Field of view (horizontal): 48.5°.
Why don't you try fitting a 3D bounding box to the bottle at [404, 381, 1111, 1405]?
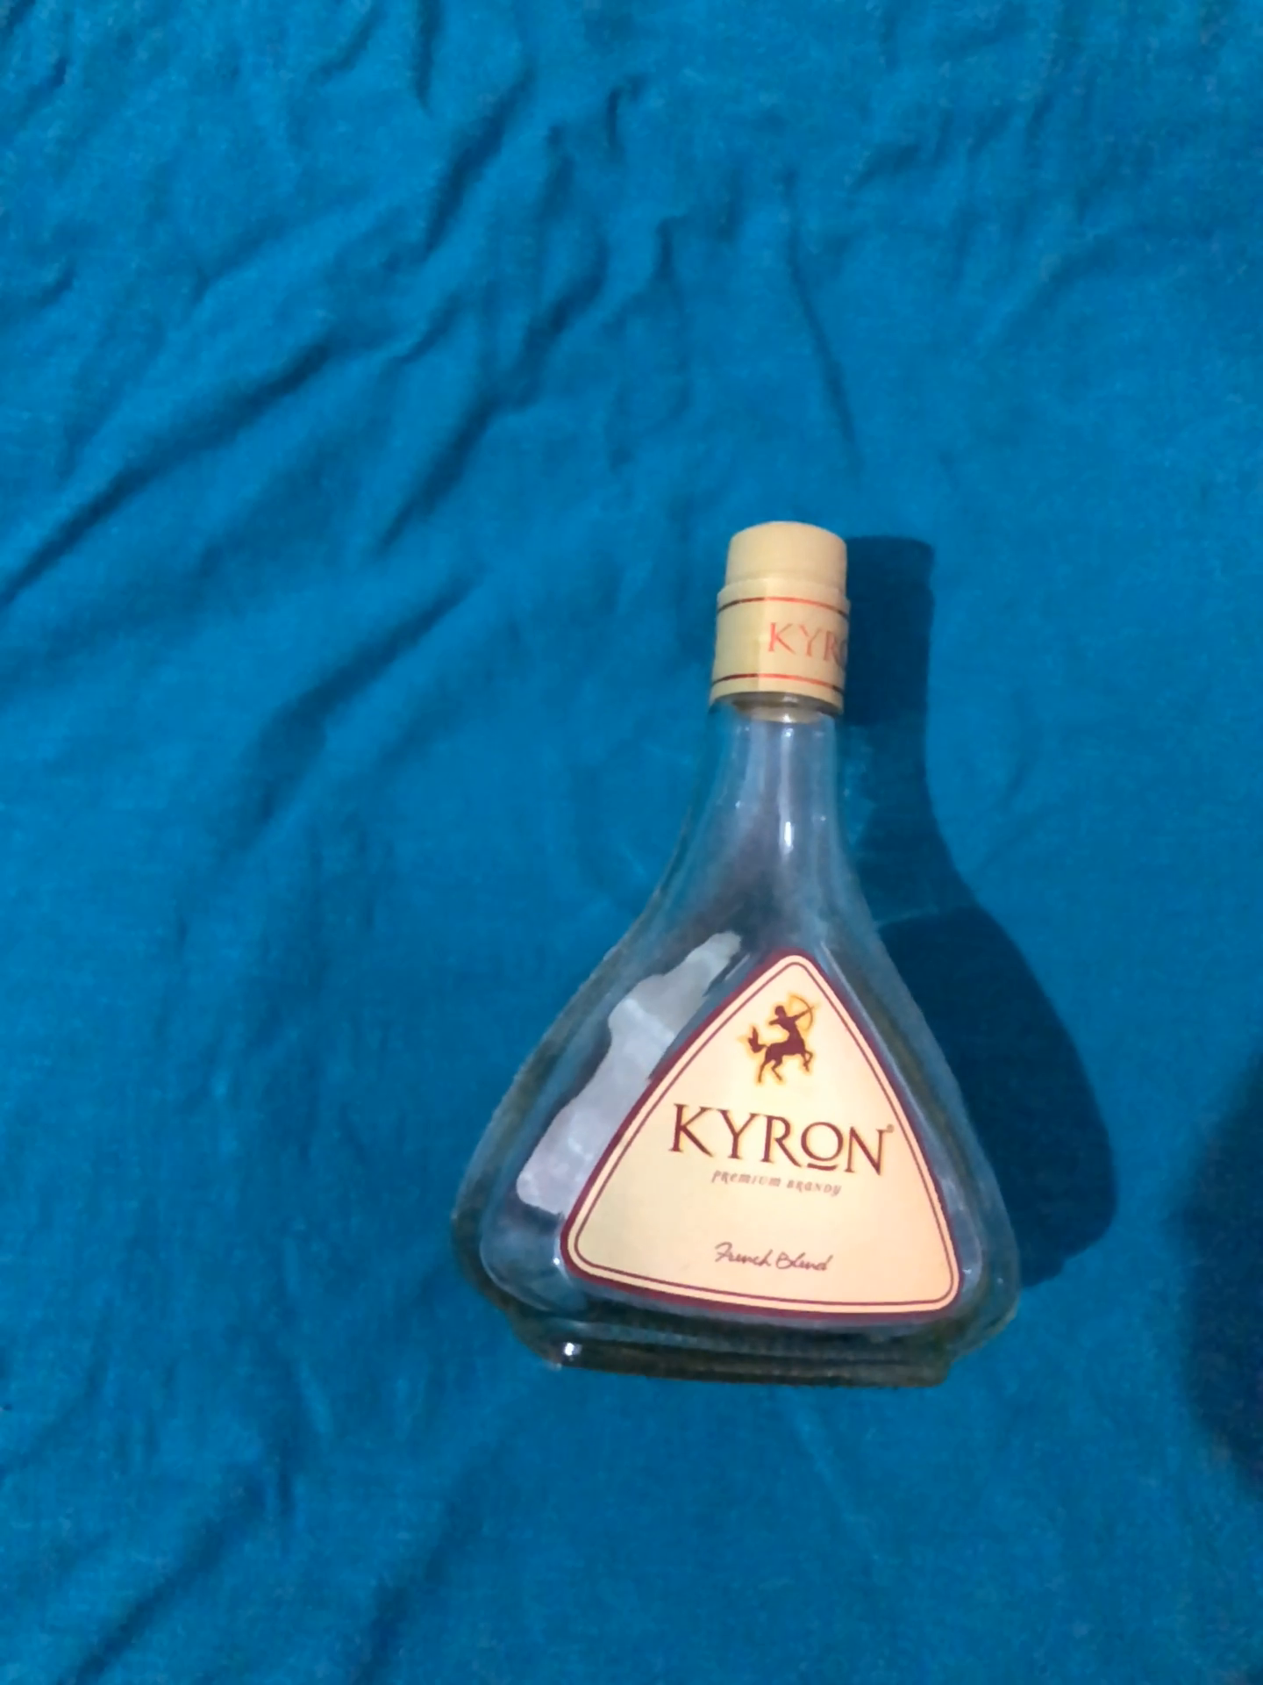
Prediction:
[{"bbox_3d":[0.024,0.012,0.291,0.120,0.060,0.180,6,84,-10],"label":"bottle"}]
